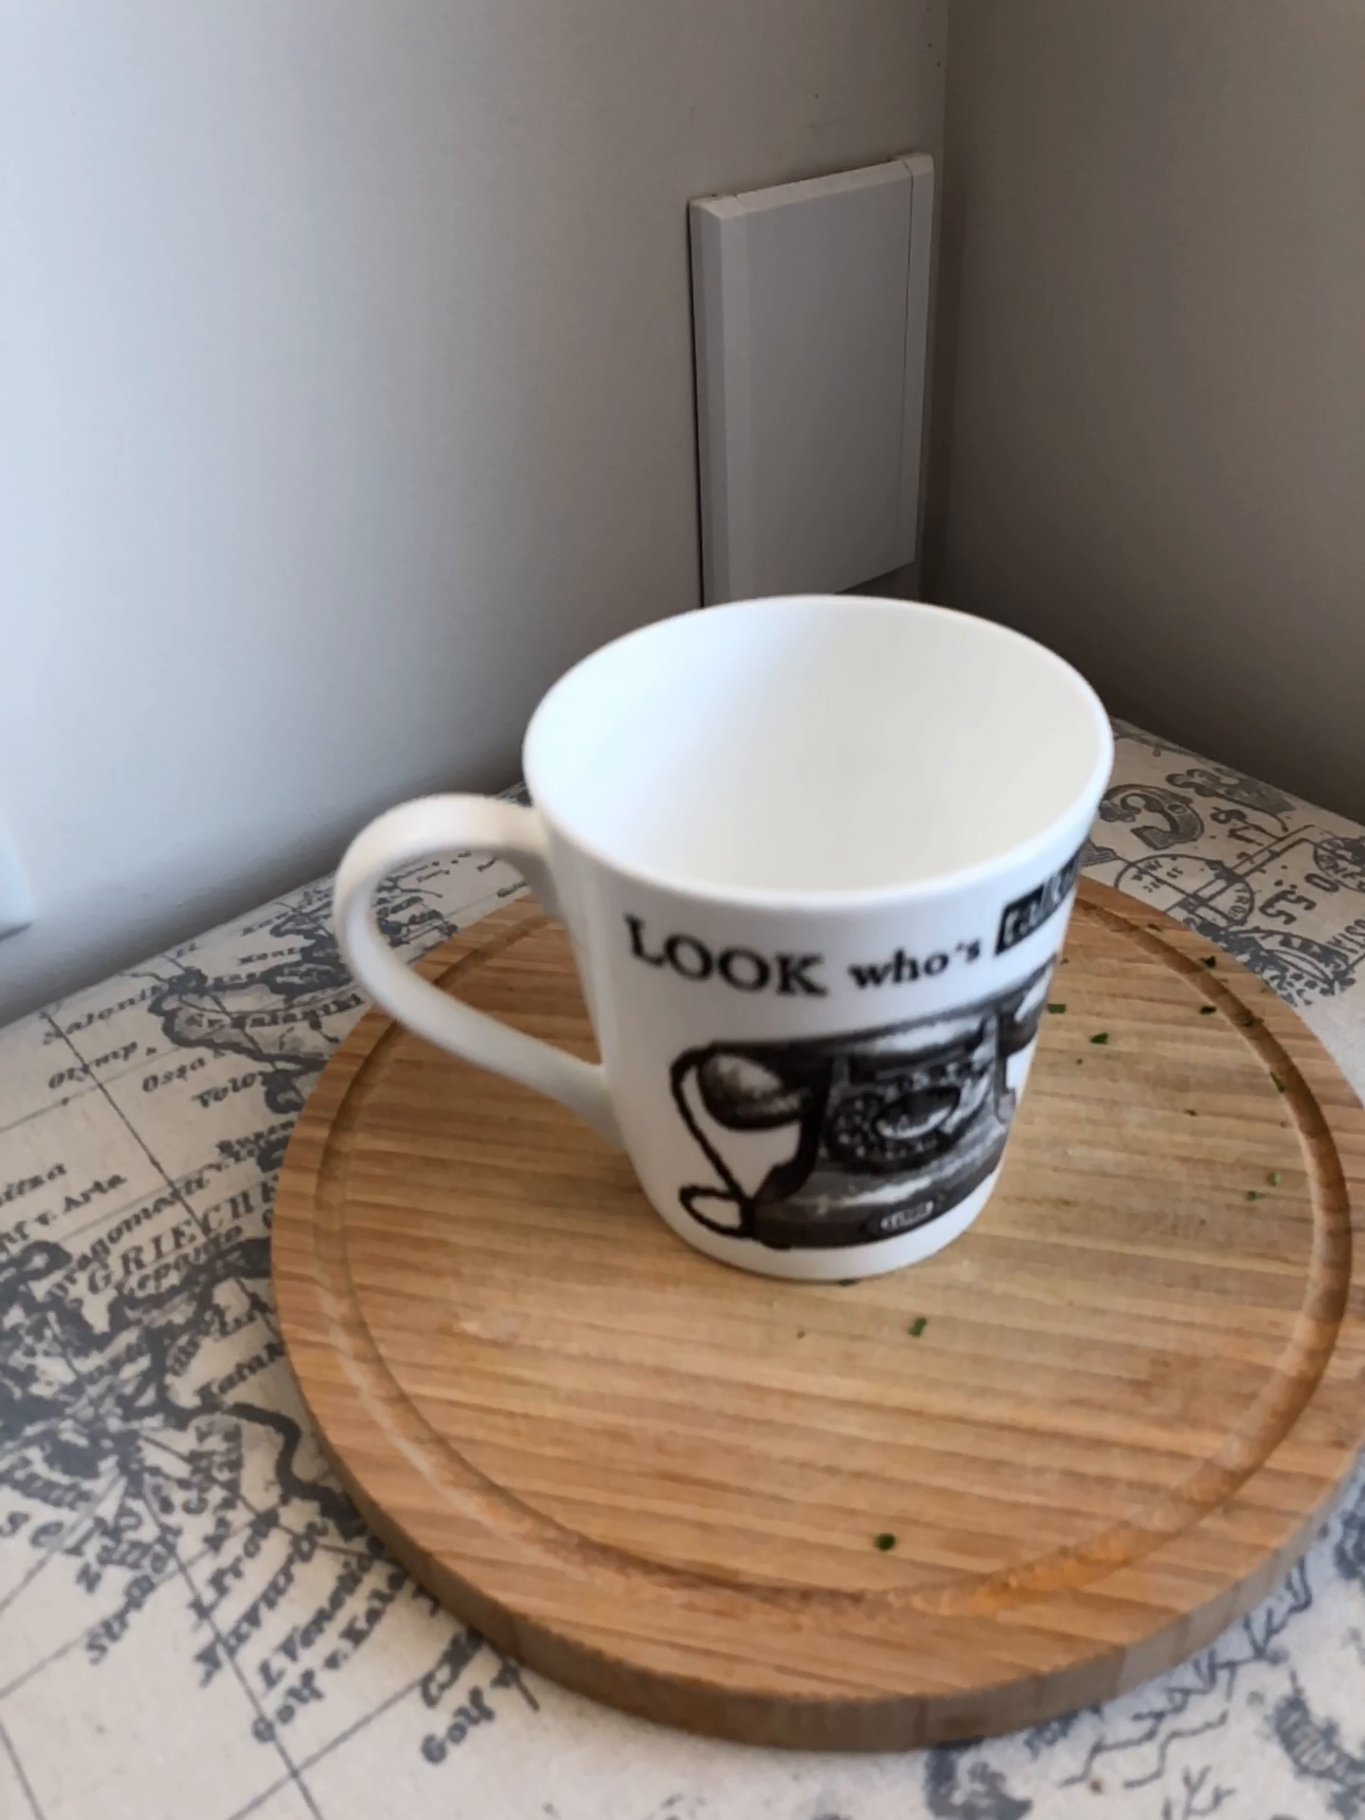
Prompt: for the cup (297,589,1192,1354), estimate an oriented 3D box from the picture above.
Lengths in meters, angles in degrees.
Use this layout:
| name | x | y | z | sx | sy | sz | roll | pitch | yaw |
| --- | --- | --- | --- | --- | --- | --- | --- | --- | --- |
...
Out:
| name | x | y | z | sx | sy | sz | roll | pitch | yaw |
| --- | --- | --- | --- | --- | --- | --- | --- | --- | --- |
| cup | 0.010 | 0.008 | 0.249 | 0.111 | 0.086 | 0.091 | -1 | 36 | 3 |
